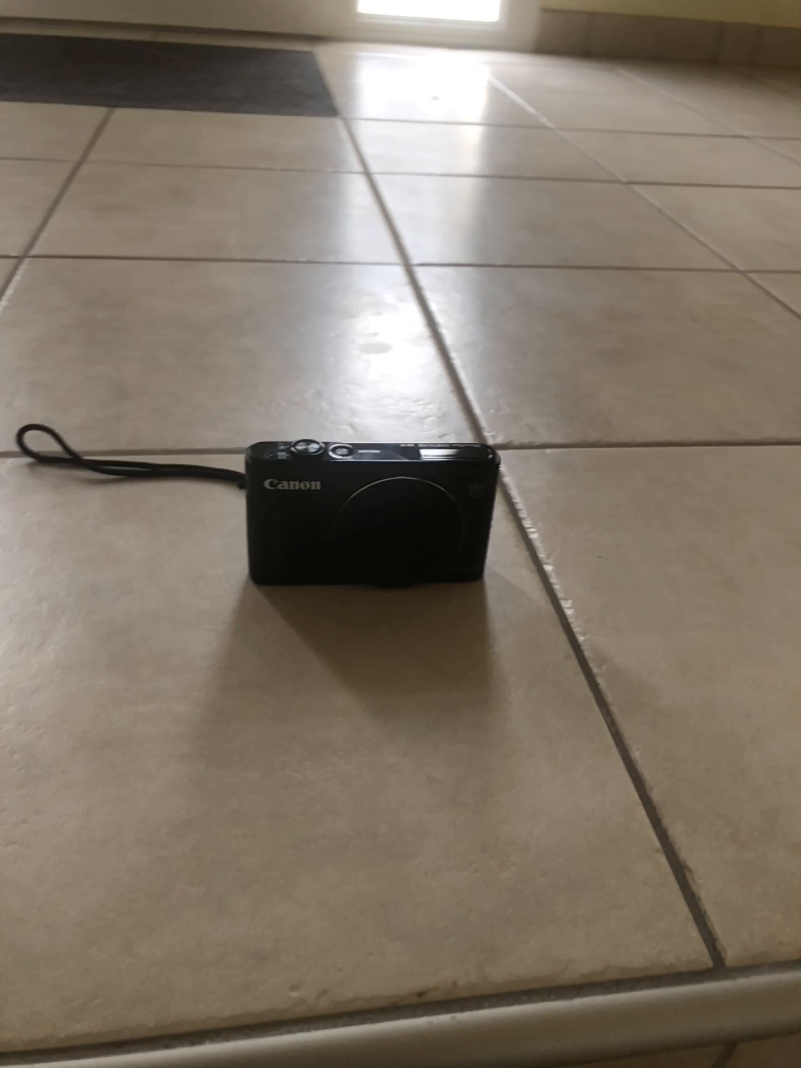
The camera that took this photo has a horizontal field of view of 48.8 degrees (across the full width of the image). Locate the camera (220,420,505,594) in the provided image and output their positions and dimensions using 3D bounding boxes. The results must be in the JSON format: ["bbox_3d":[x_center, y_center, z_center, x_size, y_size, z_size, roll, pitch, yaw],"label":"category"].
[{"bbox_3d":[-0.018,-0.011,0.373,0.110,0.060,0.040,0,35,-7],"label":"camera"}]
